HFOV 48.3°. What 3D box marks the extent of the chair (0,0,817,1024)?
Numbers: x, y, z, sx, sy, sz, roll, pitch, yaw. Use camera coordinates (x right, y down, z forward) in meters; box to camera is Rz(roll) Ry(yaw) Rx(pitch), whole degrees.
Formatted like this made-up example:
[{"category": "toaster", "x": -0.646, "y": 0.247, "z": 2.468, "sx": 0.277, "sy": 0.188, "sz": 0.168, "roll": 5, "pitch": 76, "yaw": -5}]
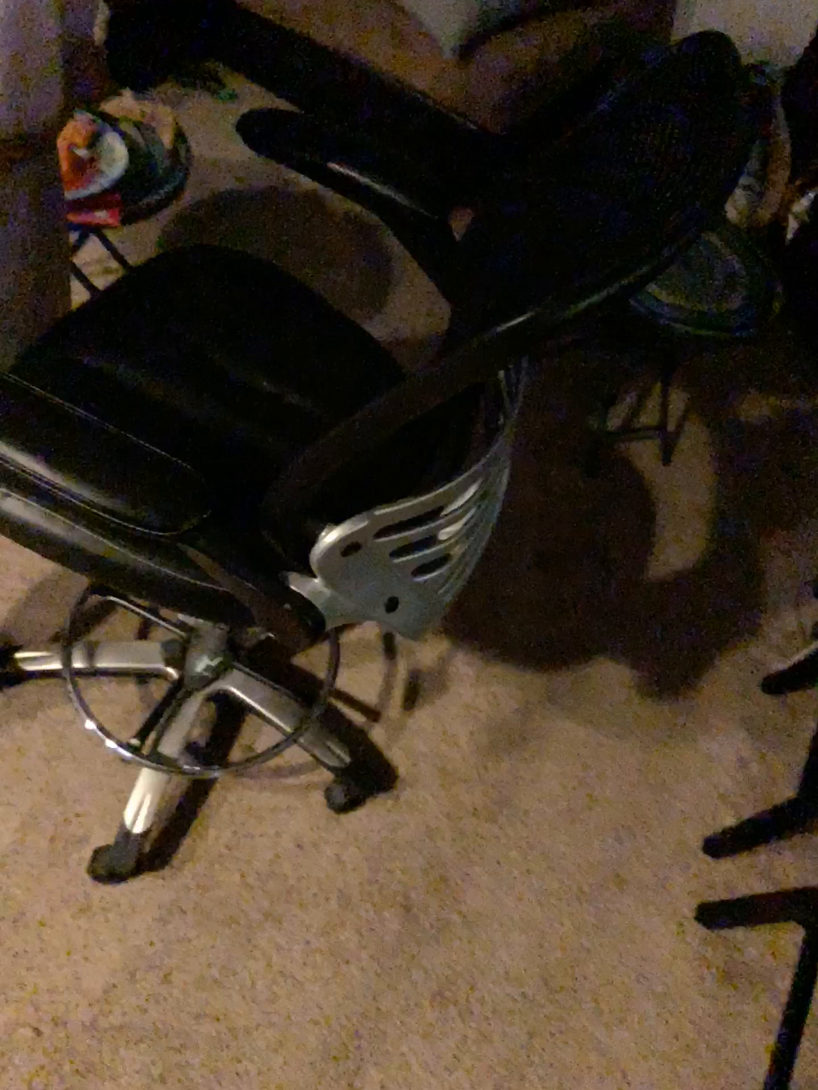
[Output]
[{"category": "chair", "x": -0.186, "y": -0.075, "z": 1.071, "sx": 0.700, "sy": 1.120, "sz": 0.780, "roll": 28, "pitch": 53, "yaw": 3}]
